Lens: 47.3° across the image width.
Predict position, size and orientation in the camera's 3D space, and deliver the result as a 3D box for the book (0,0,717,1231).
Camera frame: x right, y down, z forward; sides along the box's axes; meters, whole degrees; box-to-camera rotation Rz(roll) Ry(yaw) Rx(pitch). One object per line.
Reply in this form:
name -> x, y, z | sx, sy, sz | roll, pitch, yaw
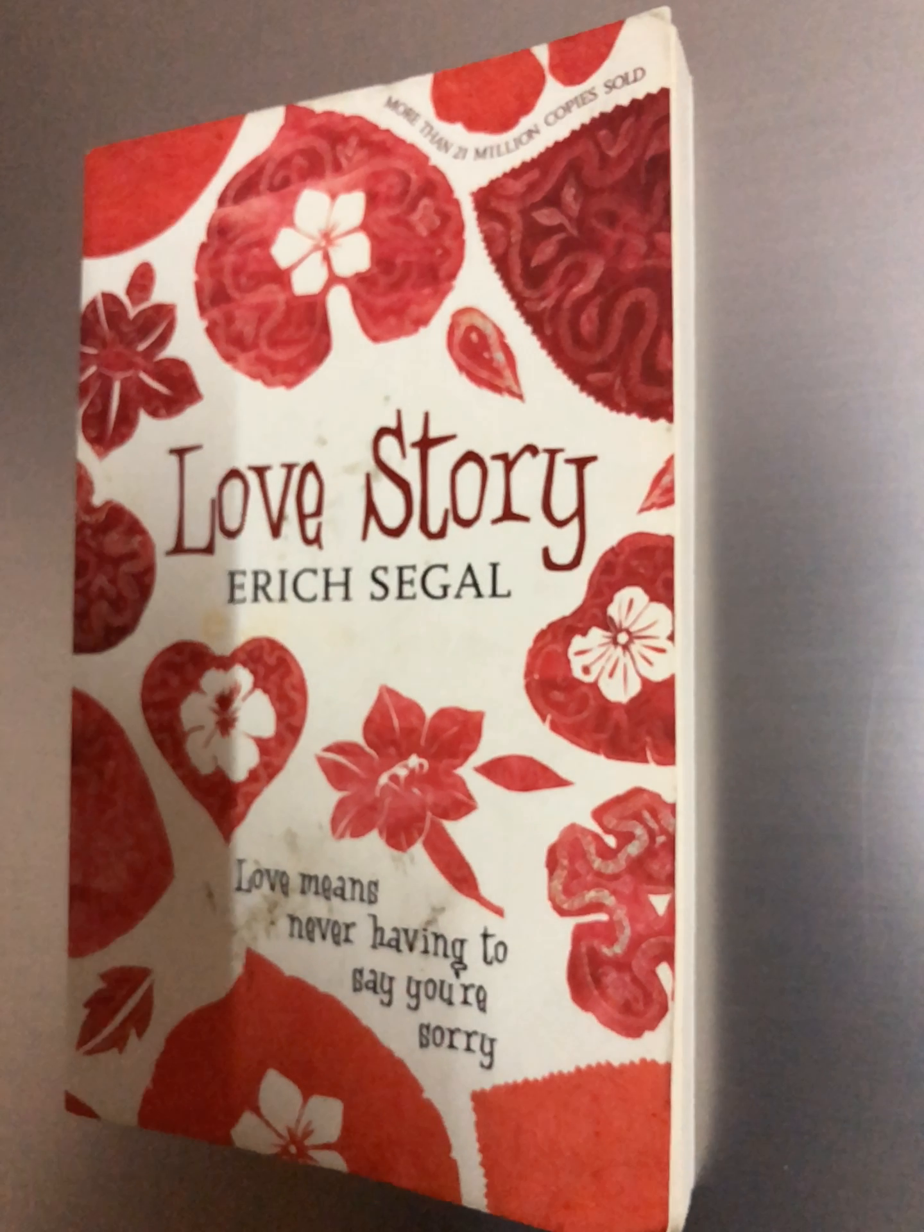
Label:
book -> -0.021, -0.007, 0.175 | 0.120, 0.030, 0.180 | -1, 86, 21
